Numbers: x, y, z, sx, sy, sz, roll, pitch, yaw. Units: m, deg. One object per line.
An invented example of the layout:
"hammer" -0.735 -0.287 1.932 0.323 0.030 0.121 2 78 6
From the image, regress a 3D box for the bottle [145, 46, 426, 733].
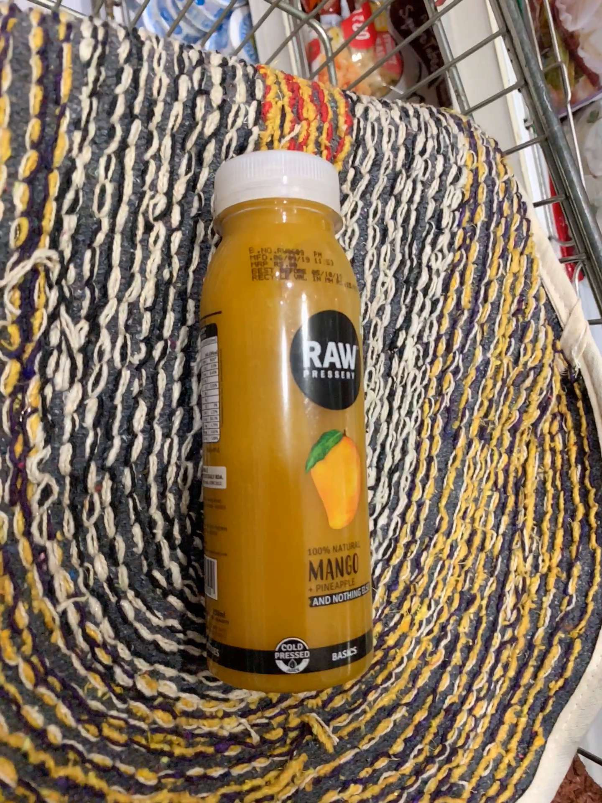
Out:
"bottle" -0.007 -0.004 0.191 0.060 0.050 0.170 1 83 -36
